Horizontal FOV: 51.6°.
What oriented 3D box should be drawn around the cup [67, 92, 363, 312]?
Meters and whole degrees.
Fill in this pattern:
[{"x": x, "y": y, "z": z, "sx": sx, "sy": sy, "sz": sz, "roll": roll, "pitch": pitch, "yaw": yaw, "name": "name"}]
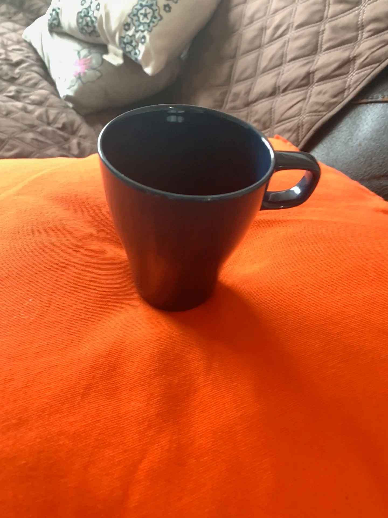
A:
[{"x": 0.004, "y": -0.029, "z": 0.216, "sx": 0.120, "sy": 0.079, "sz": 0.081, "roll": 0, "pitch": 47, "yaw": -8, "name": "cup"}]
